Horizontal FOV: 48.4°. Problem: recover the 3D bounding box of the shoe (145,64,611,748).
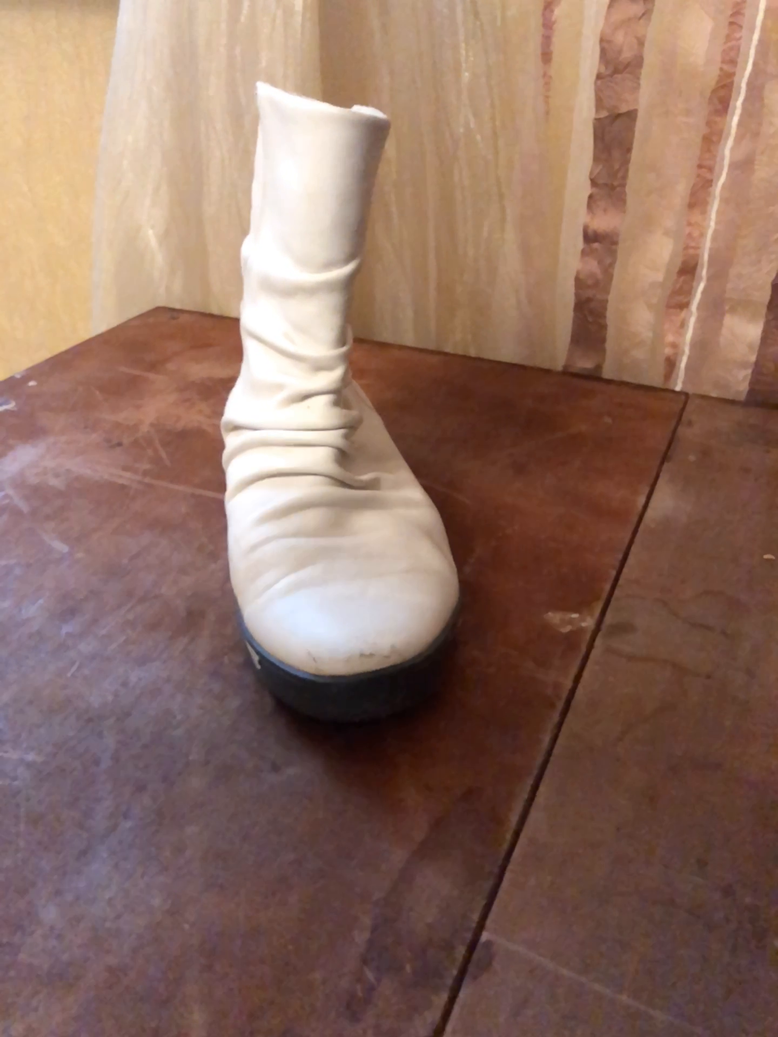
[{"bbox_3d":[-0.019,-0.068,0.329,0.100,0.169,0.241,-3,32,-8],"label":"shoe"}]
